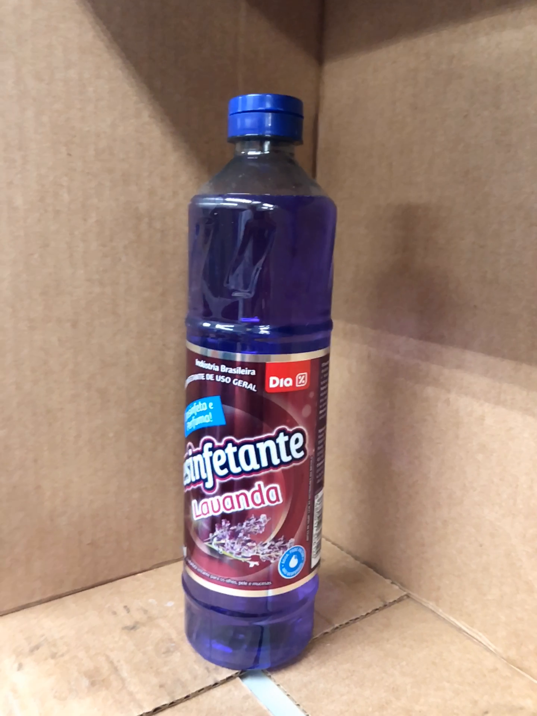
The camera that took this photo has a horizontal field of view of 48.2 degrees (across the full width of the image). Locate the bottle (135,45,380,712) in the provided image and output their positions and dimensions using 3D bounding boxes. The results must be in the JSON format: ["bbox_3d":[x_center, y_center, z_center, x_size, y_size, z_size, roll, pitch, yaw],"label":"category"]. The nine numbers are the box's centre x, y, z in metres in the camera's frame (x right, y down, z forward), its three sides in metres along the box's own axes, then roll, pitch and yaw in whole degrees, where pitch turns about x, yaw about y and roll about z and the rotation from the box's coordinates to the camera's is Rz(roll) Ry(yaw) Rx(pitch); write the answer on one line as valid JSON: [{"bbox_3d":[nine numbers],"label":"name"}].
[{"bbox_3d":[-0.003,0.010,0.254,0.070,0.239,0.070,1,12,0],"label":"bottle"}]
